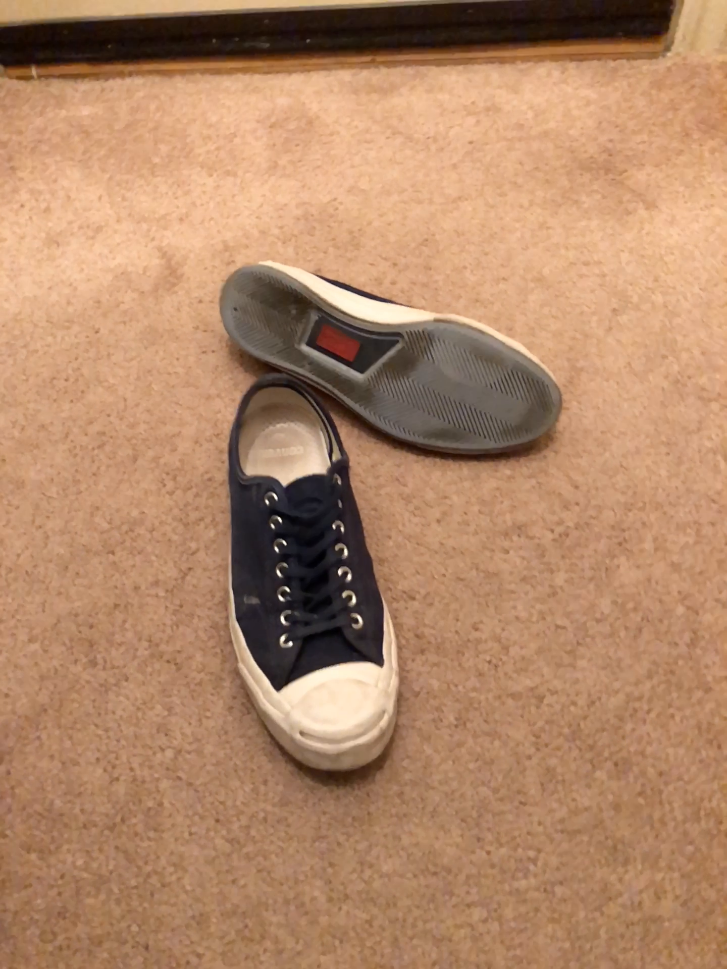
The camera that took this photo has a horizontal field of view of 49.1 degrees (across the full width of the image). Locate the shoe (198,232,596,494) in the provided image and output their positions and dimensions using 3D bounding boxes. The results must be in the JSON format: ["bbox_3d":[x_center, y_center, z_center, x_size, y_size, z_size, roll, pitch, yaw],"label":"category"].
[{"bbox_3d":[0.022,-0.109,0.655,0.296,0.104,0.099,21,31,14],"label":"shoe"}]

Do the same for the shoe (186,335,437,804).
[{"bbox_3d":[-0.043,0.044,0.537,0.116,0.099,0.287,-9,56,-5],"label":"shoe"}]
